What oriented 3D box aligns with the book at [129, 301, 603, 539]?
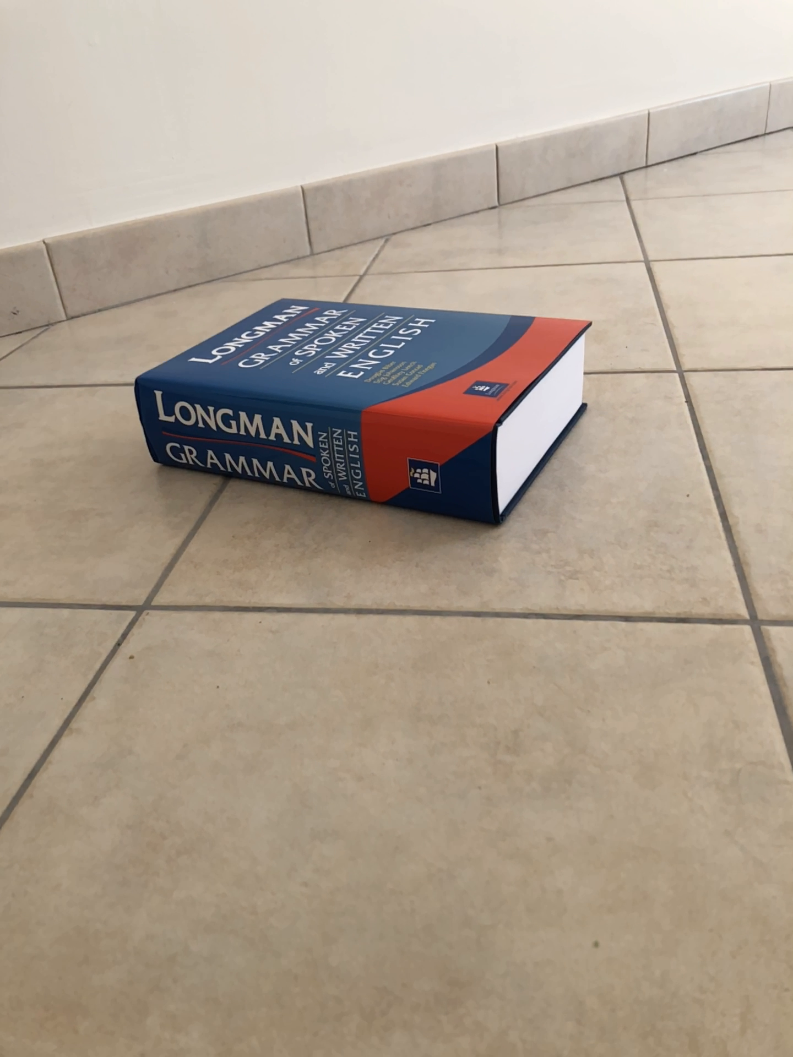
[{"bbox_3d":[-0.014,-0.086,0.572,0.250,0.060,0.178,11,35,26],"label":"book"}]
